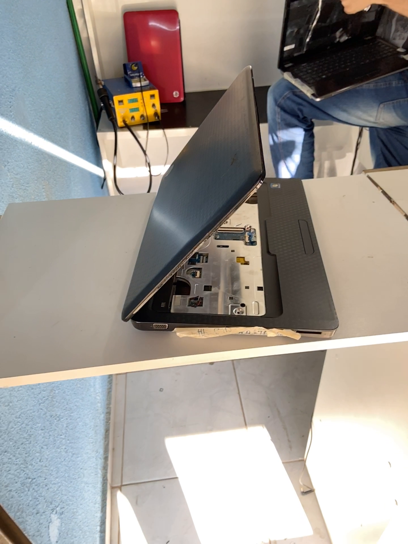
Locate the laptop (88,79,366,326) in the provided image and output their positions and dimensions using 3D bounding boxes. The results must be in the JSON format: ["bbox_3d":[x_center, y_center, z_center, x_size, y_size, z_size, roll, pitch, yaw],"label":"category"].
[{"bbox_3d":[0.029,-0.110,0.510,0.222,0.153,0.329,0,38,4],"label":"laptop"}]
